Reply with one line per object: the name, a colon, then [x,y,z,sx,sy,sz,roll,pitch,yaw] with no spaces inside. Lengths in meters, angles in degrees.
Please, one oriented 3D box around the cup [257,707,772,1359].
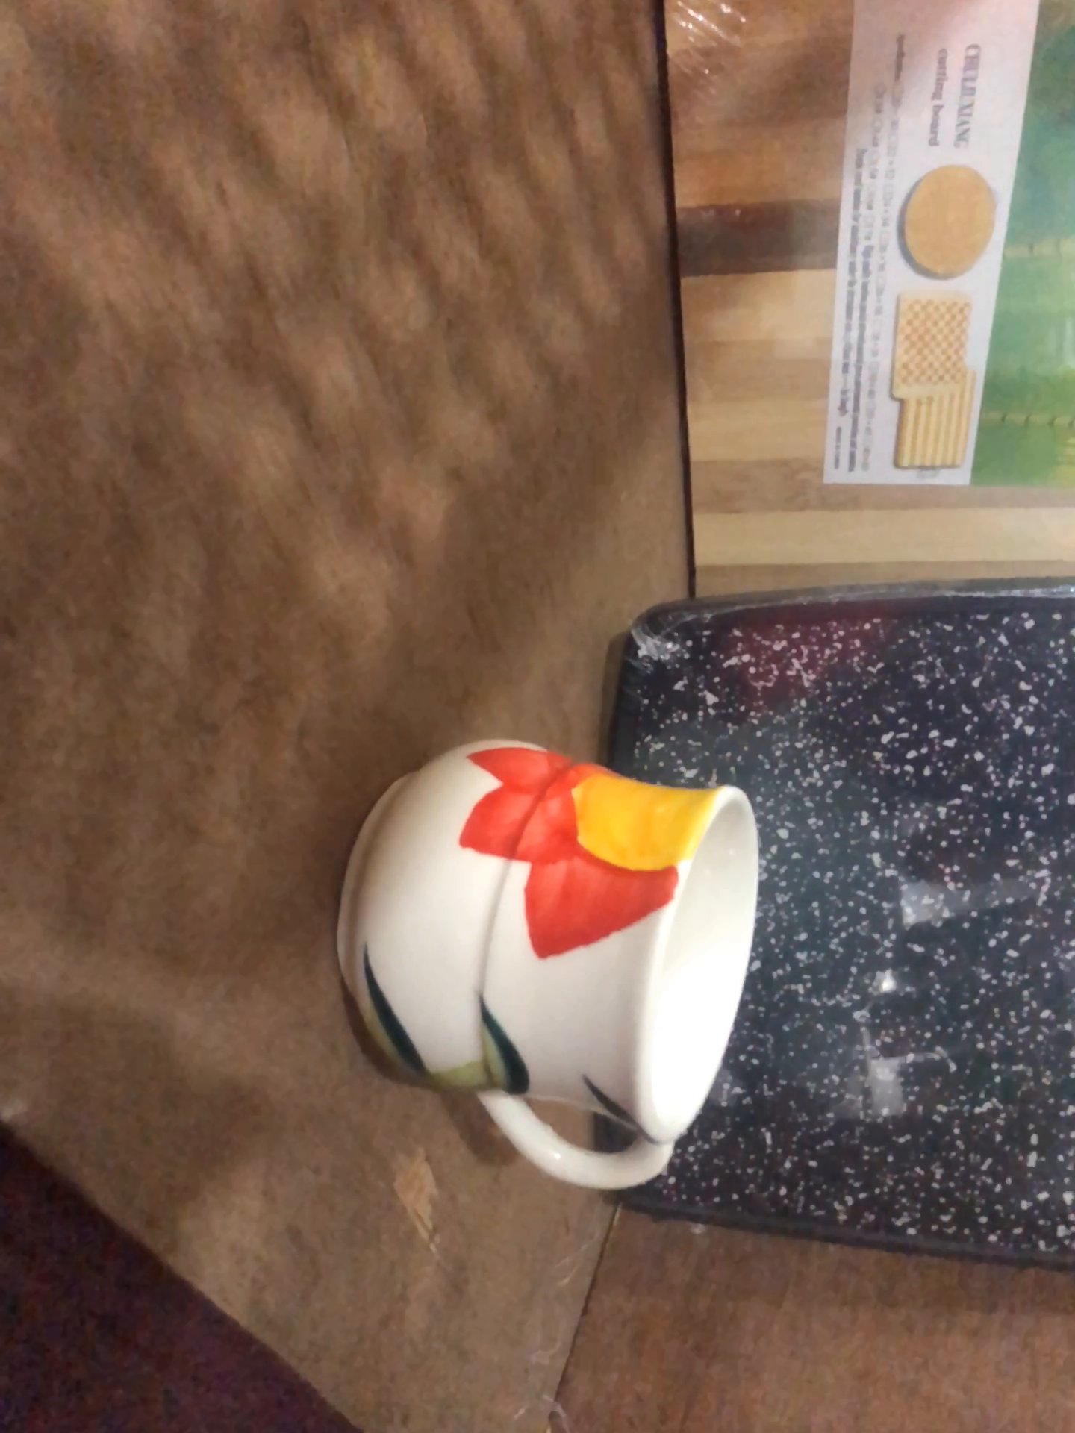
cup: [0.004,0.056,0.216,0.060,0.060,0.090,-57,147,-44]
